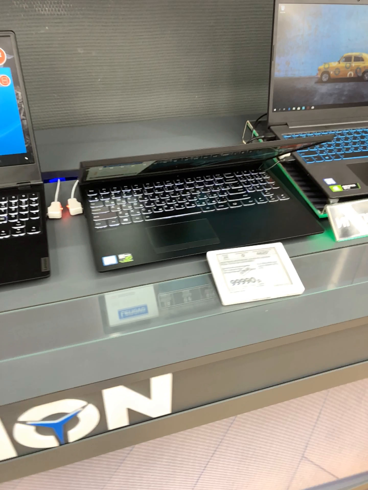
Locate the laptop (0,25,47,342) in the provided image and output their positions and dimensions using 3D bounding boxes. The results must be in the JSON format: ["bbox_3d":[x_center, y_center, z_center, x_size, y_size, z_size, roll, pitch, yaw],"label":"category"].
[{"bbox_3d":[-0.397,-0.117,0.534,0.364,0.231,0.309,-9,41,-13],"label":"laptop"}]

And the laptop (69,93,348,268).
[{"bbox_3d":[0.020,-0.120,0.631,0.353,0.136,0.228,-9,40,-14],"label":"laptop"}]
